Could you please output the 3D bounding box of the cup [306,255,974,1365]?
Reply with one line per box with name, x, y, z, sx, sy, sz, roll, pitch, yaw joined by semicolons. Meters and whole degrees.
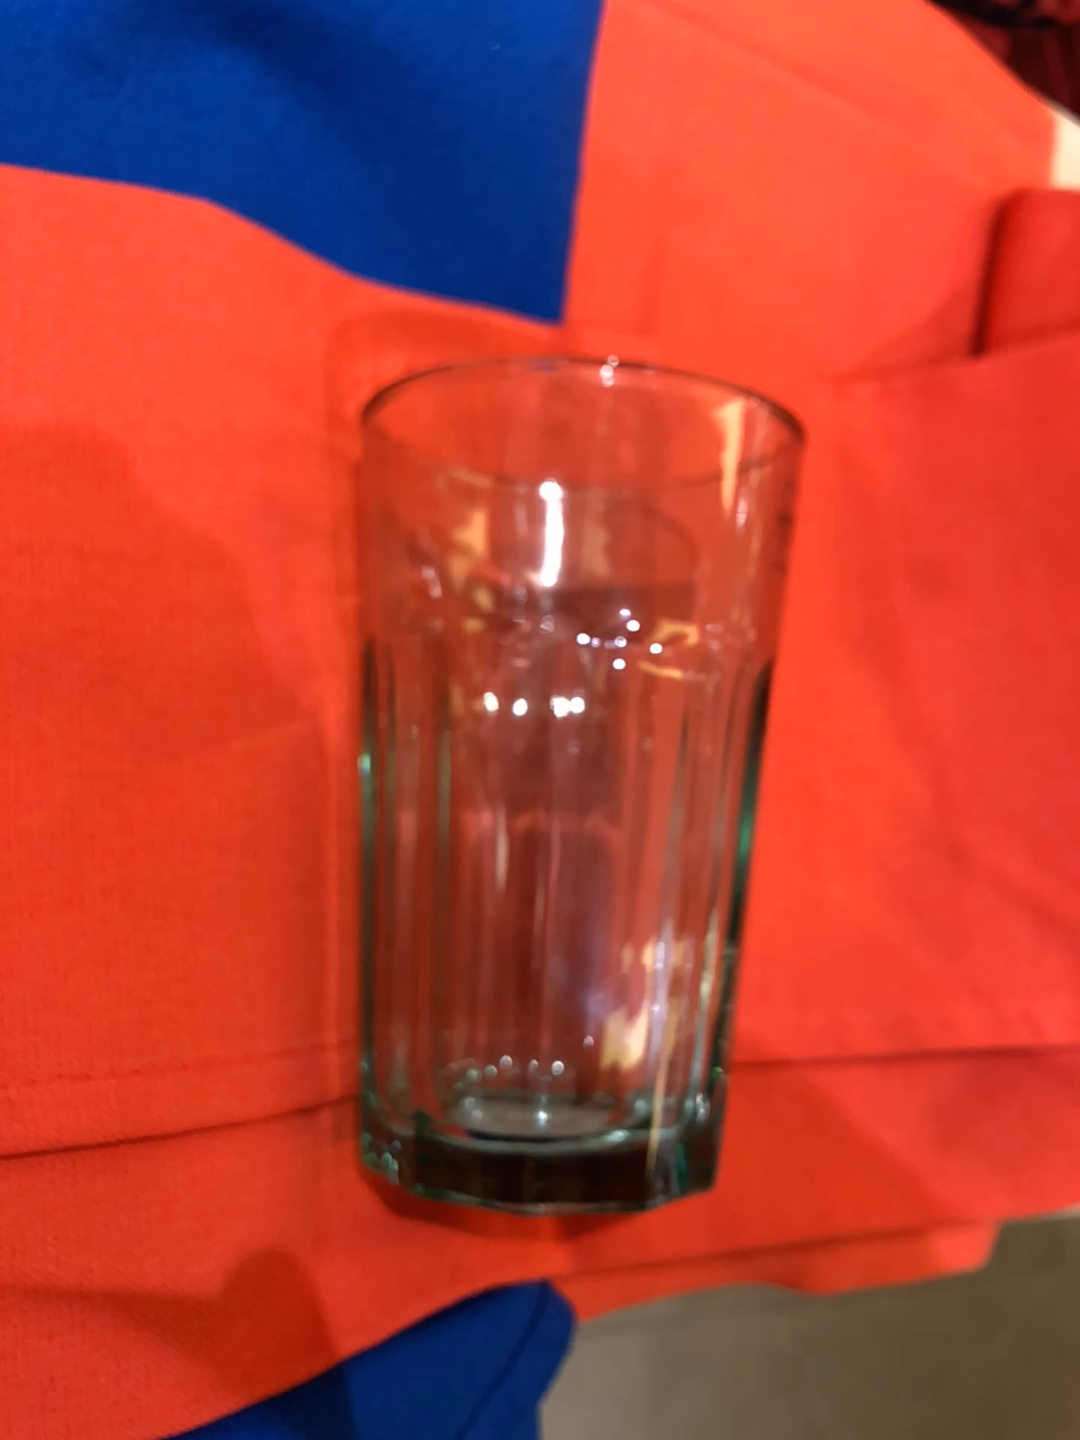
cup;0.019;0.015;0.220;0.090;0.070;0.150;7;82;-31
